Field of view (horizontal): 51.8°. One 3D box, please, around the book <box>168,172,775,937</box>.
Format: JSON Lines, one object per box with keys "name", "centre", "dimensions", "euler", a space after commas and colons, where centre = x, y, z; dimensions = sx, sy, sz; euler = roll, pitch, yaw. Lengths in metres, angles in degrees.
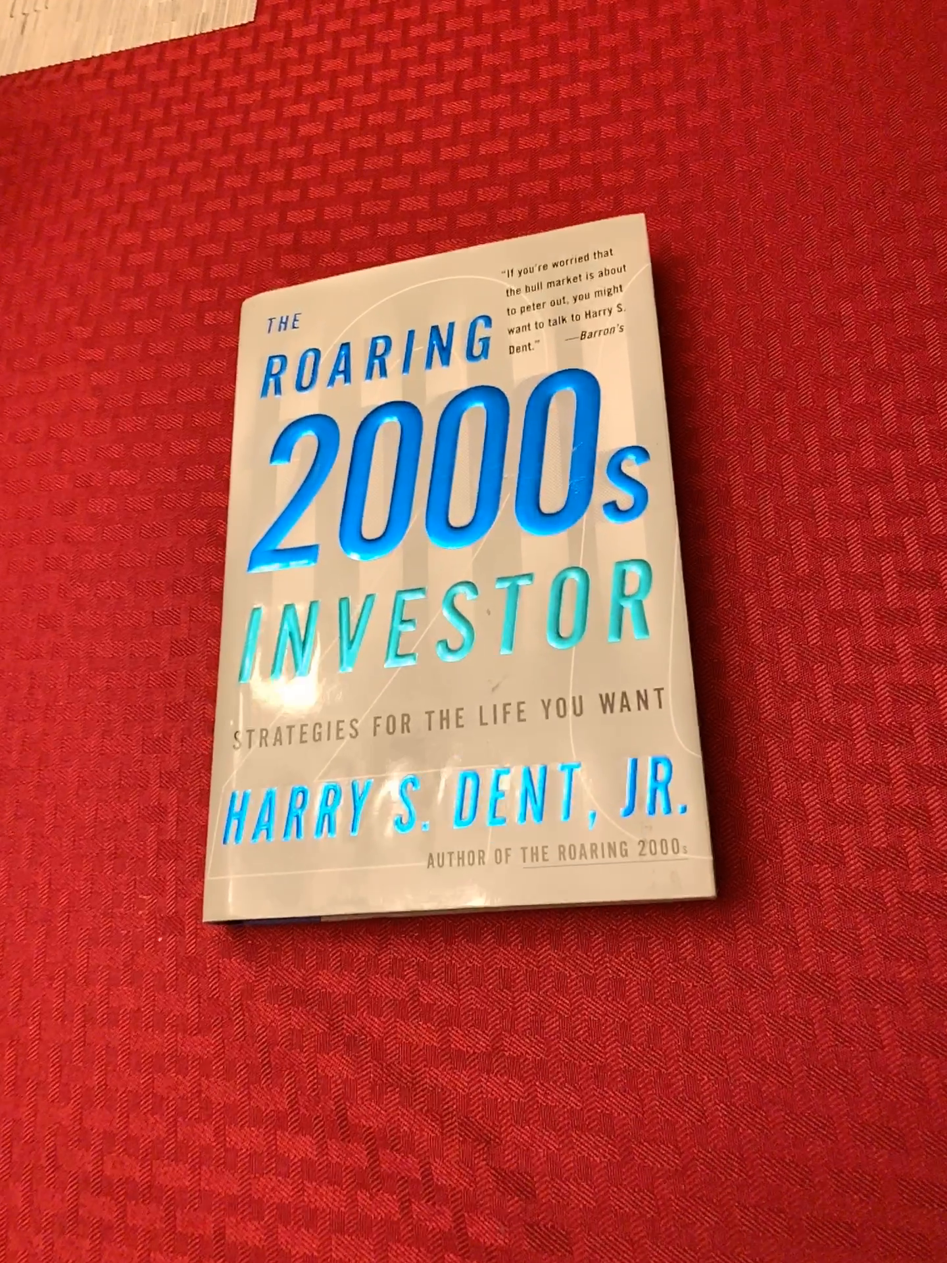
{"name": "book", "centre": [-0.005, -0.028, 0.326], "dimensions": [0.170, 0.040, 0.240], "euler": [-7, 68, 13]}
